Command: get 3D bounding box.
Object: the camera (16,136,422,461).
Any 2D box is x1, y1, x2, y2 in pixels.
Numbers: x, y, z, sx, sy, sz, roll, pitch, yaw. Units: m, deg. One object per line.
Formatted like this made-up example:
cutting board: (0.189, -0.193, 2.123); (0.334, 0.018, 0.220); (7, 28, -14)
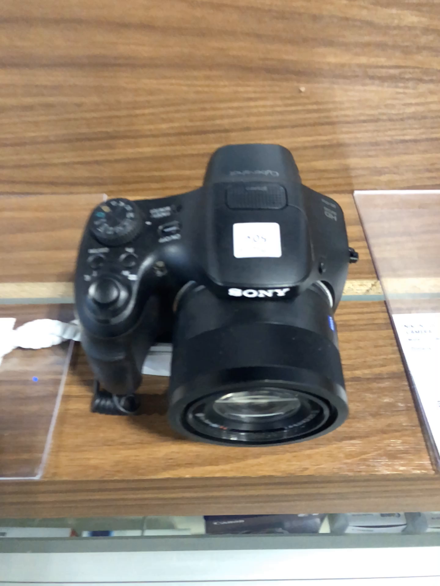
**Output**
camera: (-0.001, 0.003, 0.226); (0.130, 0.089, 0.121); (-1, 55, 0)
